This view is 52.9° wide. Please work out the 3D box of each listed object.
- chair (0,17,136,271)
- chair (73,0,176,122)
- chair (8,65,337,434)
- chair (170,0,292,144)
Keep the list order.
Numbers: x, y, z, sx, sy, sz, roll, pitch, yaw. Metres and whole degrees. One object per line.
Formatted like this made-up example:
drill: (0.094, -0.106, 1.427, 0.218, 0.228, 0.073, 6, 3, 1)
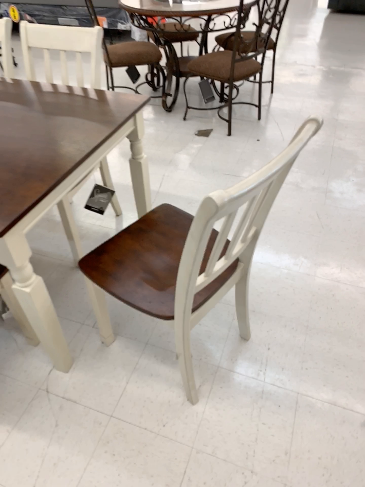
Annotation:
chair: (-0.611, -0.456, 1.736, 0.464, 0.932, 0.606, 13, 45, 16)
chair: (-0.425, -1.559, 2.885, 0.604, 0.972, 0.476, -12, 44, -11)
chair: (-0.008, 0.026, 1.187, 0.595, 0.903, 0.525, 27, 50, 28)
chair: (0.308, -1.346, 2.640, 0.465, 0.982, 0.606, -34, 51, -30)
